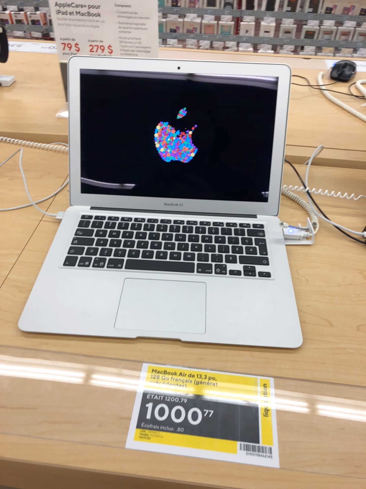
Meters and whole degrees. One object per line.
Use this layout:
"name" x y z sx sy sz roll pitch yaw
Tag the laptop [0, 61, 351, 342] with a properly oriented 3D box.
"laptop" -0.016 -0.074 0.500 0.305 0.186 0.326 3 40 0
